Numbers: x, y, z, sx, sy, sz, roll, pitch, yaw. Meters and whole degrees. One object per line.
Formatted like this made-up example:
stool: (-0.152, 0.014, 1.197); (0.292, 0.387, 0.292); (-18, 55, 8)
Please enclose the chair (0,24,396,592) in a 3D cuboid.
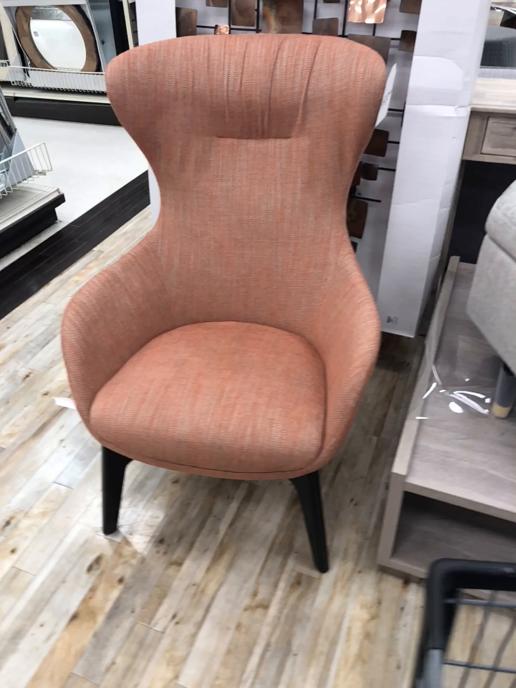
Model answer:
chair: (-0.084, -0.106, 1.364); (0.690, 1.065, 0.753); (5, 37, 11)
